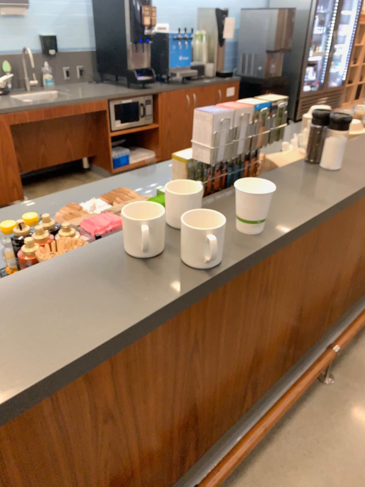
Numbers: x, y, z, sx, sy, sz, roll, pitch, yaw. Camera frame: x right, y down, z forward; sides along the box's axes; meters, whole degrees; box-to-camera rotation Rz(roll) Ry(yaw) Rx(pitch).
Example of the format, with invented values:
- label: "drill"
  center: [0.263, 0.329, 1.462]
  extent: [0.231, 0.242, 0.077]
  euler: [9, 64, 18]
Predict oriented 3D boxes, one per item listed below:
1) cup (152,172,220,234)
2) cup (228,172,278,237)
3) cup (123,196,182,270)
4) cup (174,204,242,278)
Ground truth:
- label: "cup"
  center: [0.007, -0.095, 0.856]
  extent: [0.120, 0.089, 0.090]
  euler: [-19, 37, -30]
- label: "cup"
  center: [0.152, -0.086, 0.817]
  extent: [0.090, 0.099, 0.101]
  euler: [7, 31, 9]
- label: "cup"
  center: [-0.057, -0.023, 0.699]
  extent: [0.090, 0.080, 0.121]
  euler: [-5, 32, -10]
- label: "cup"
  center: [0.043, -0.008, 0.714]
  extent: [0.090, 0.080, 0.121]
  euler: [-7, 32, -14]
